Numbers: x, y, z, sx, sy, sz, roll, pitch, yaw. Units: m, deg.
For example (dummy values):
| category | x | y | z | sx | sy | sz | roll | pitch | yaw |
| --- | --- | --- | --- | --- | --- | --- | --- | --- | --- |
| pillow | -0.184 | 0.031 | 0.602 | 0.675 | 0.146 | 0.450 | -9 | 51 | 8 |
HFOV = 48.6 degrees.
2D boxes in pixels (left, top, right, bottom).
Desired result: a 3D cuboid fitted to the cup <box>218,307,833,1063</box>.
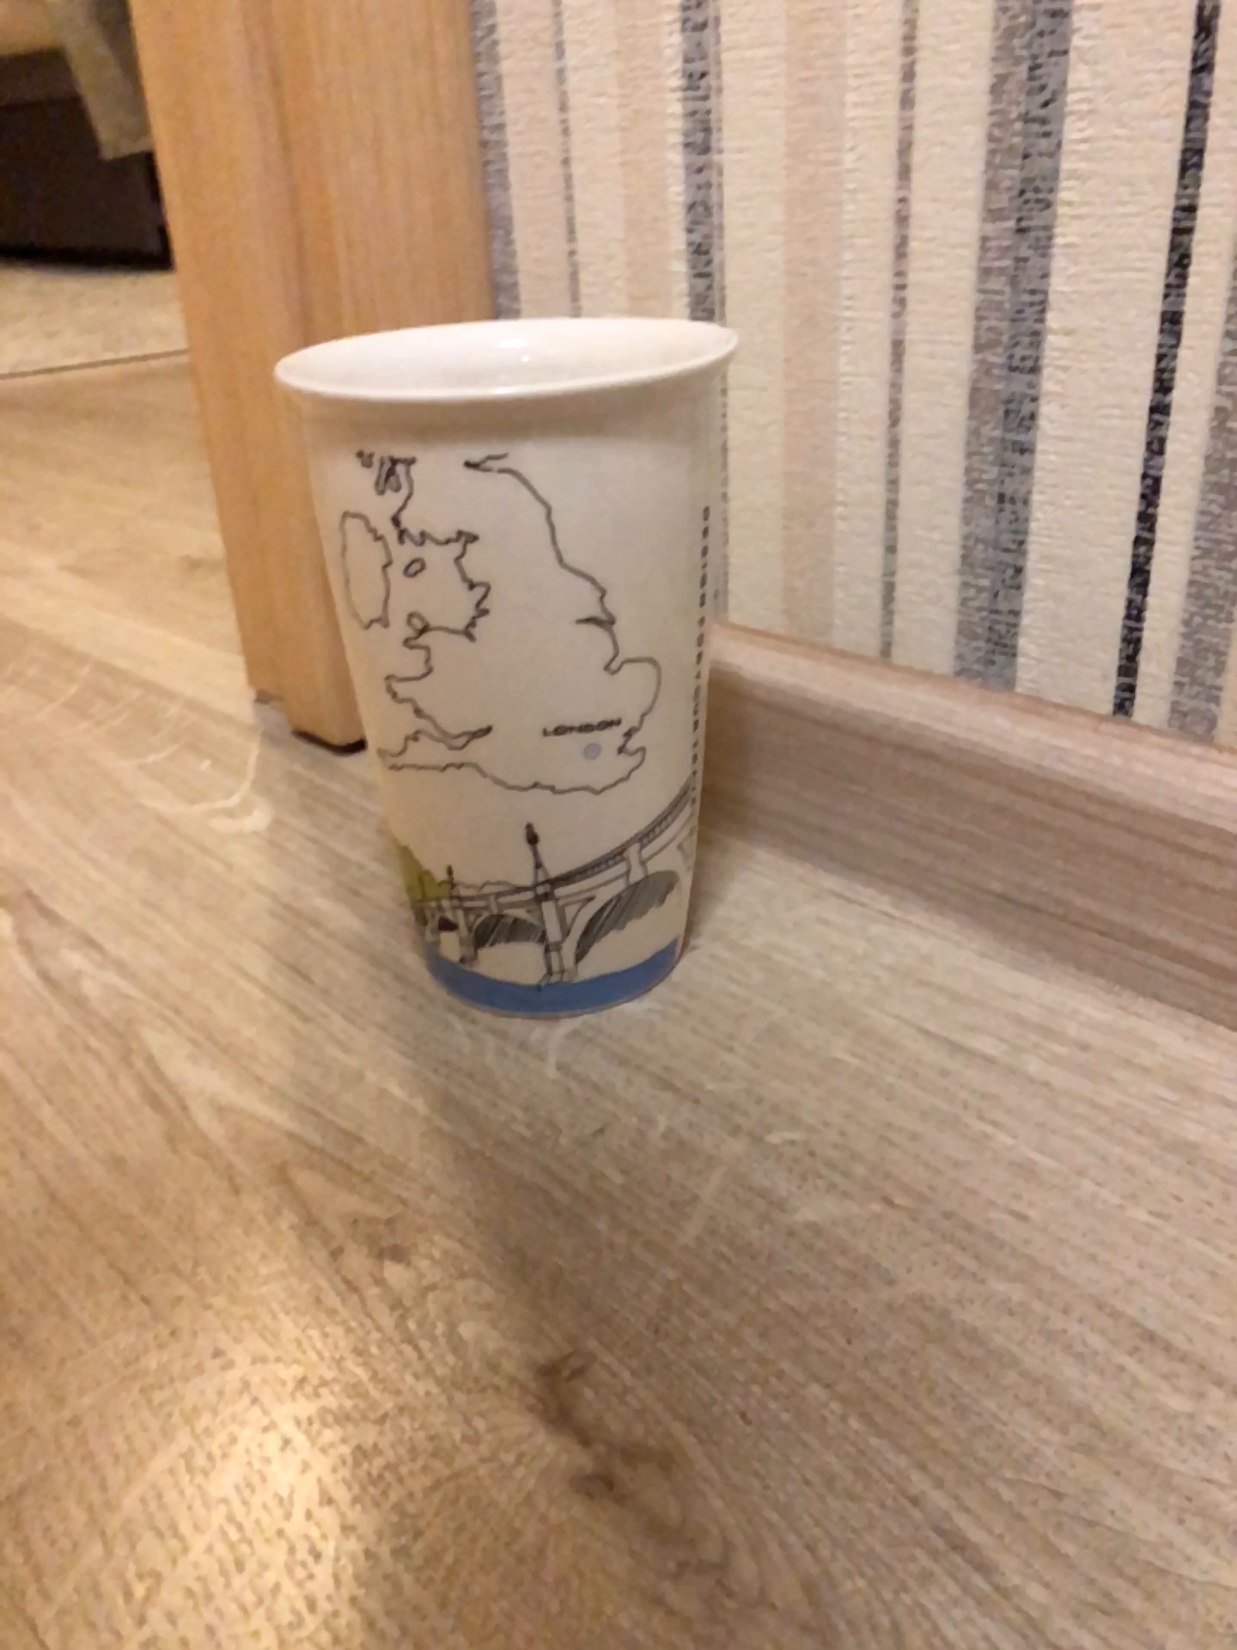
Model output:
| category | x | y | z | sx | sy | sz | roll | pitch | yaw |
| --- | --- | --- | --- | --- | --- | --- | --- | --- | --- |
| cup | -0.009 | -0.037 | 0.300 | 0.097 | 0.133 | 0.096 | -2 | 26 | 1 |
